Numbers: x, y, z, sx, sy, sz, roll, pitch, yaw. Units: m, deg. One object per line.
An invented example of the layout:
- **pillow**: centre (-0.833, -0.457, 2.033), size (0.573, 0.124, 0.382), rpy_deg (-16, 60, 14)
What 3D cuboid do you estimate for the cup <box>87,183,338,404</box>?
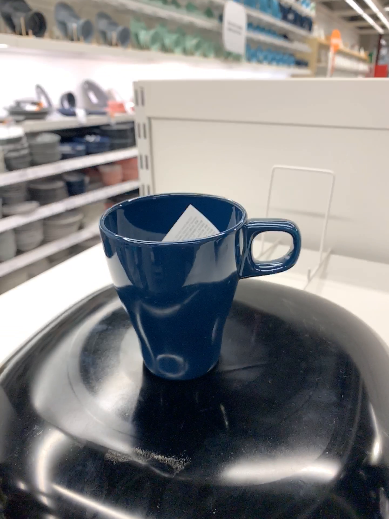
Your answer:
- **cup**: centre (0.005, 0.013, 0.252), size (0.120, 0.100, 0.090), rpy_deg (-3, 23, -6)
